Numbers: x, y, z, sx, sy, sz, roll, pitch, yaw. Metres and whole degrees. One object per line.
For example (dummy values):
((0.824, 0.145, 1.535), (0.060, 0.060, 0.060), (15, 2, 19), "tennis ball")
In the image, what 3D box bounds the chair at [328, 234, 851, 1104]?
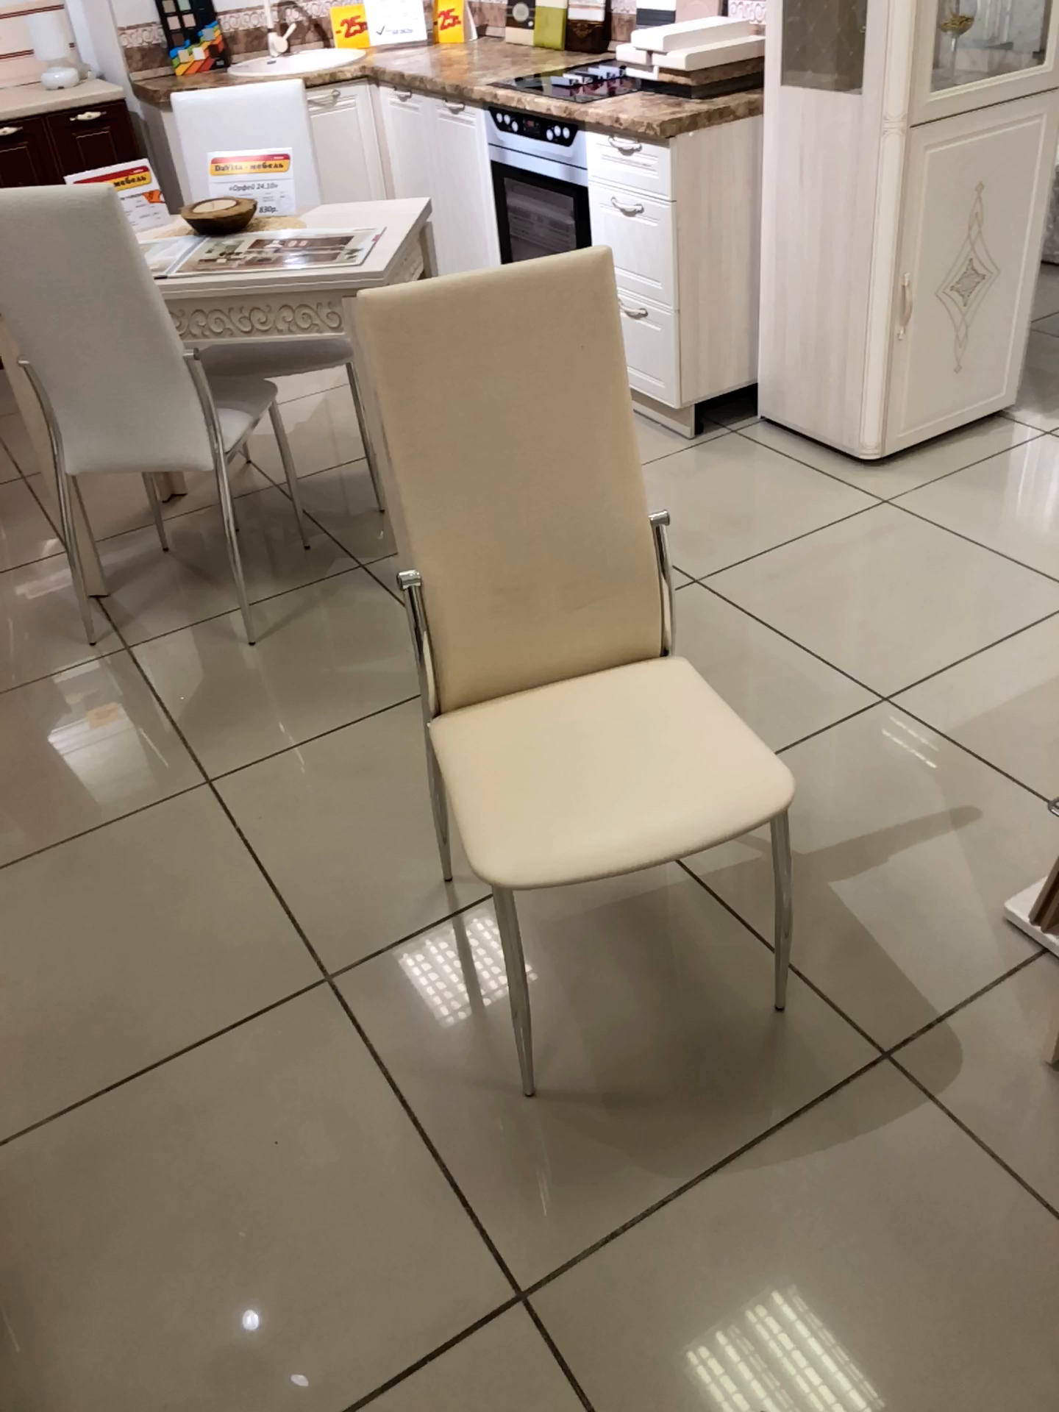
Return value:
((0.073, -0.036, 1.561), (0.430, 0.975, 0.502), (-14, 36, -12), "chair")
